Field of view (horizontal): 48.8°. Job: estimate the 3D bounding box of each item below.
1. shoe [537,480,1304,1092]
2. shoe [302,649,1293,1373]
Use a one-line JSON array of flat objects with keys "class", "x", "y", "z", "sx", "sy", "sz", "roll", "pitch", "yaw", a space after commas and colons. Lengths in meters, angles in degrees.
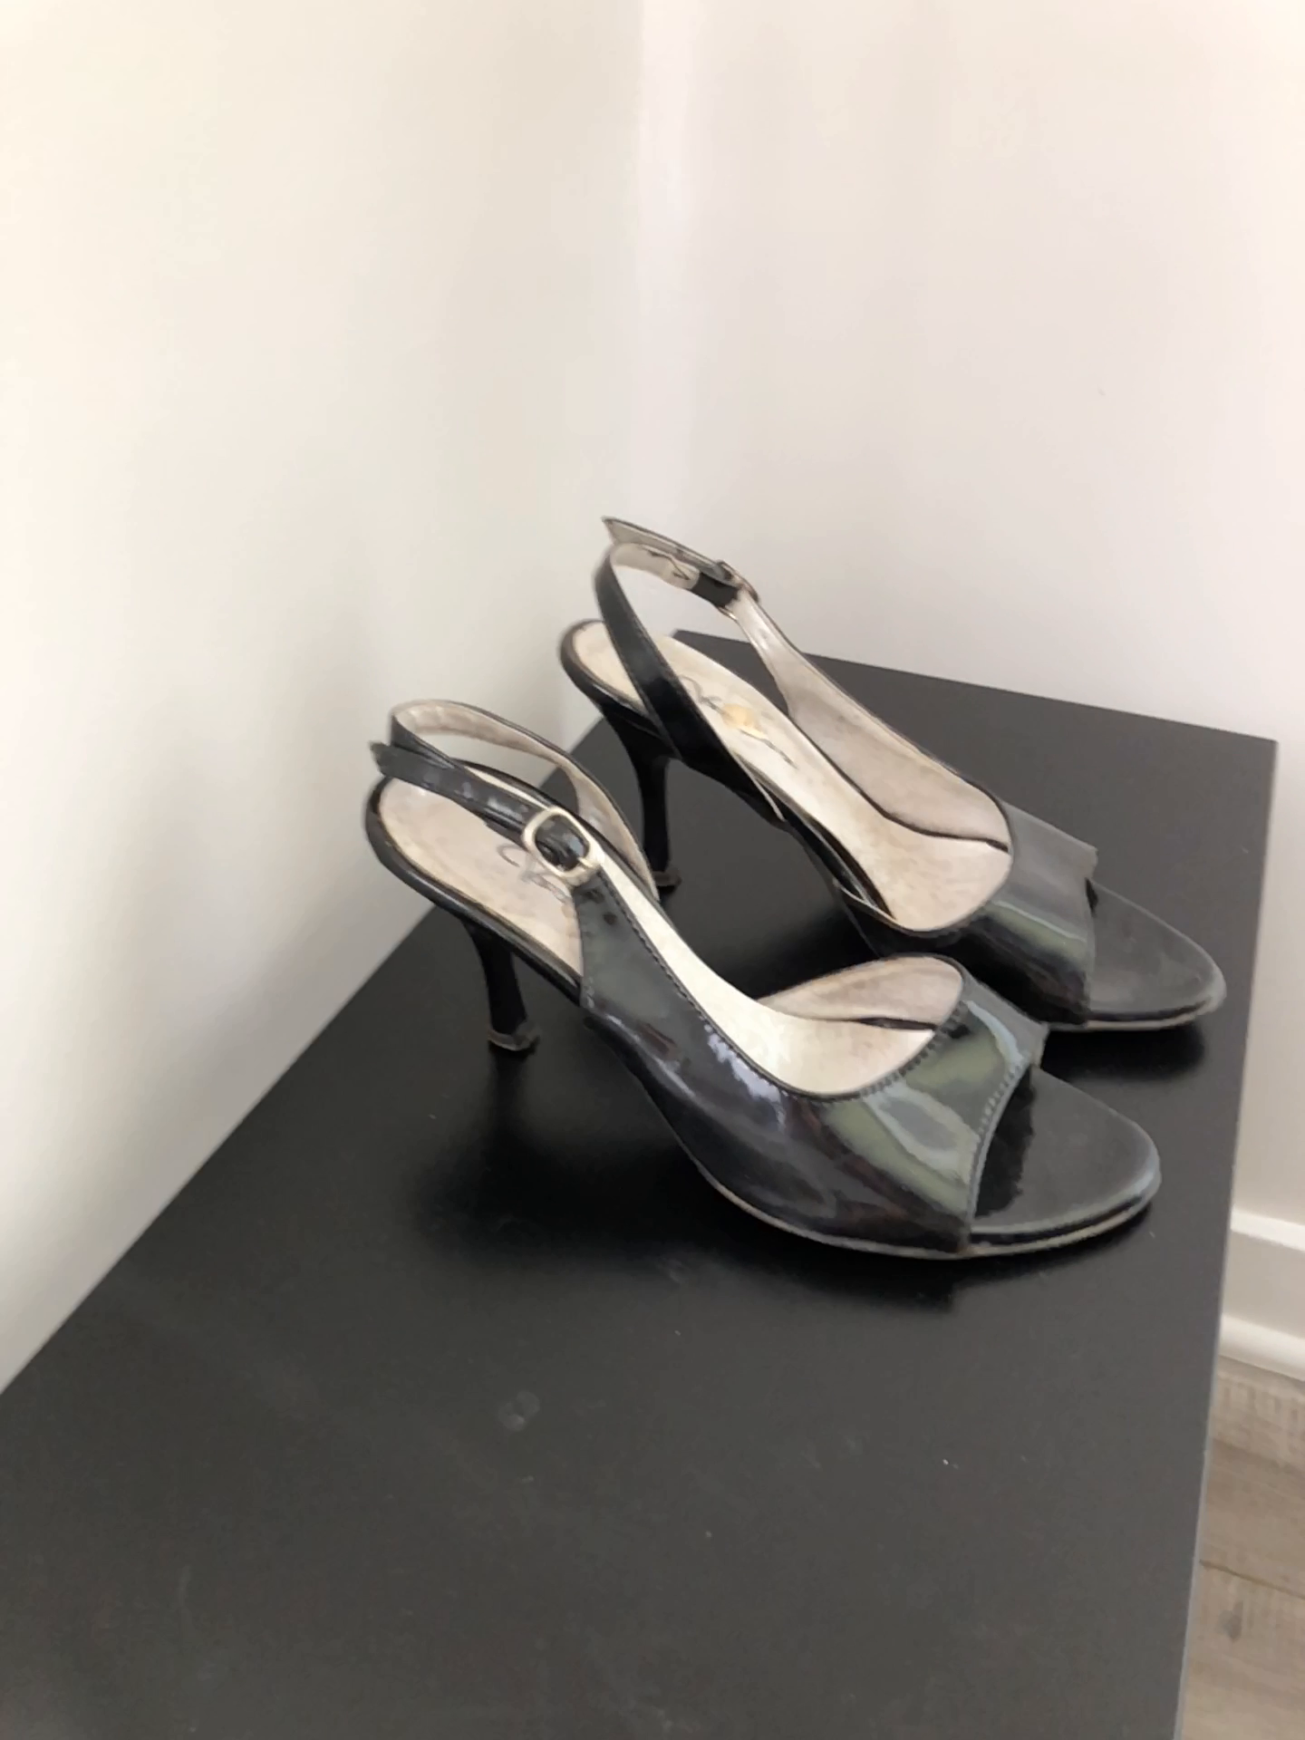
[{"class": "shoe", "x": 0.079, "y": -0.033, "z": 0.429, "sx": 0.210, "sy": 0.110, "sz": 0.084, "roll": 16, "pitch": 37, "yaw": 19}, {"class": "shoe", "x": 0.033, "y": 0.028, "z": 0.361, "sx": 0.210, "sy": 0.110, "sz": 0.084, "roll": 12, "pitch": 36, "yaw": 14}]
